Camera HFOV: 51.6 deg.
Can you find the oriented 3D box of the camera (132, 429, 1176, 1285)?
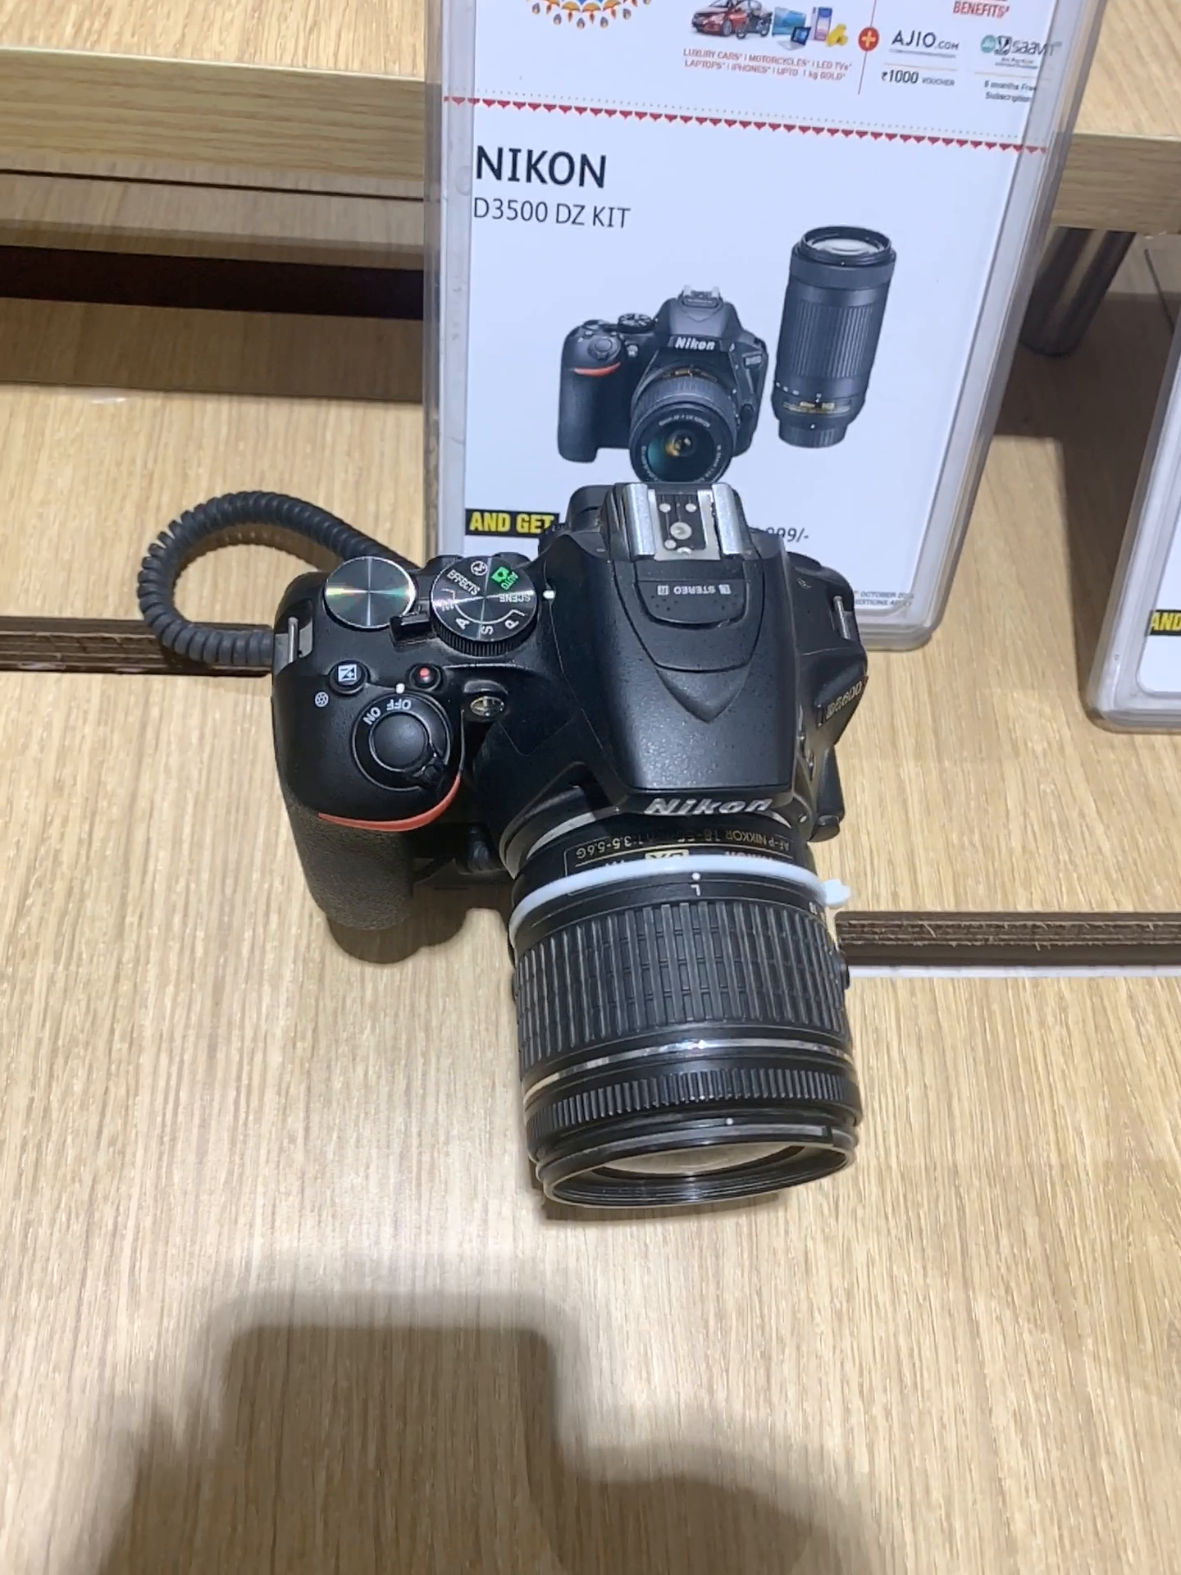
[{"bbox_3d":[0.003,0.018,0.222,0.130,0.100,0.120,0,62,-6],"label":"camera"}]
